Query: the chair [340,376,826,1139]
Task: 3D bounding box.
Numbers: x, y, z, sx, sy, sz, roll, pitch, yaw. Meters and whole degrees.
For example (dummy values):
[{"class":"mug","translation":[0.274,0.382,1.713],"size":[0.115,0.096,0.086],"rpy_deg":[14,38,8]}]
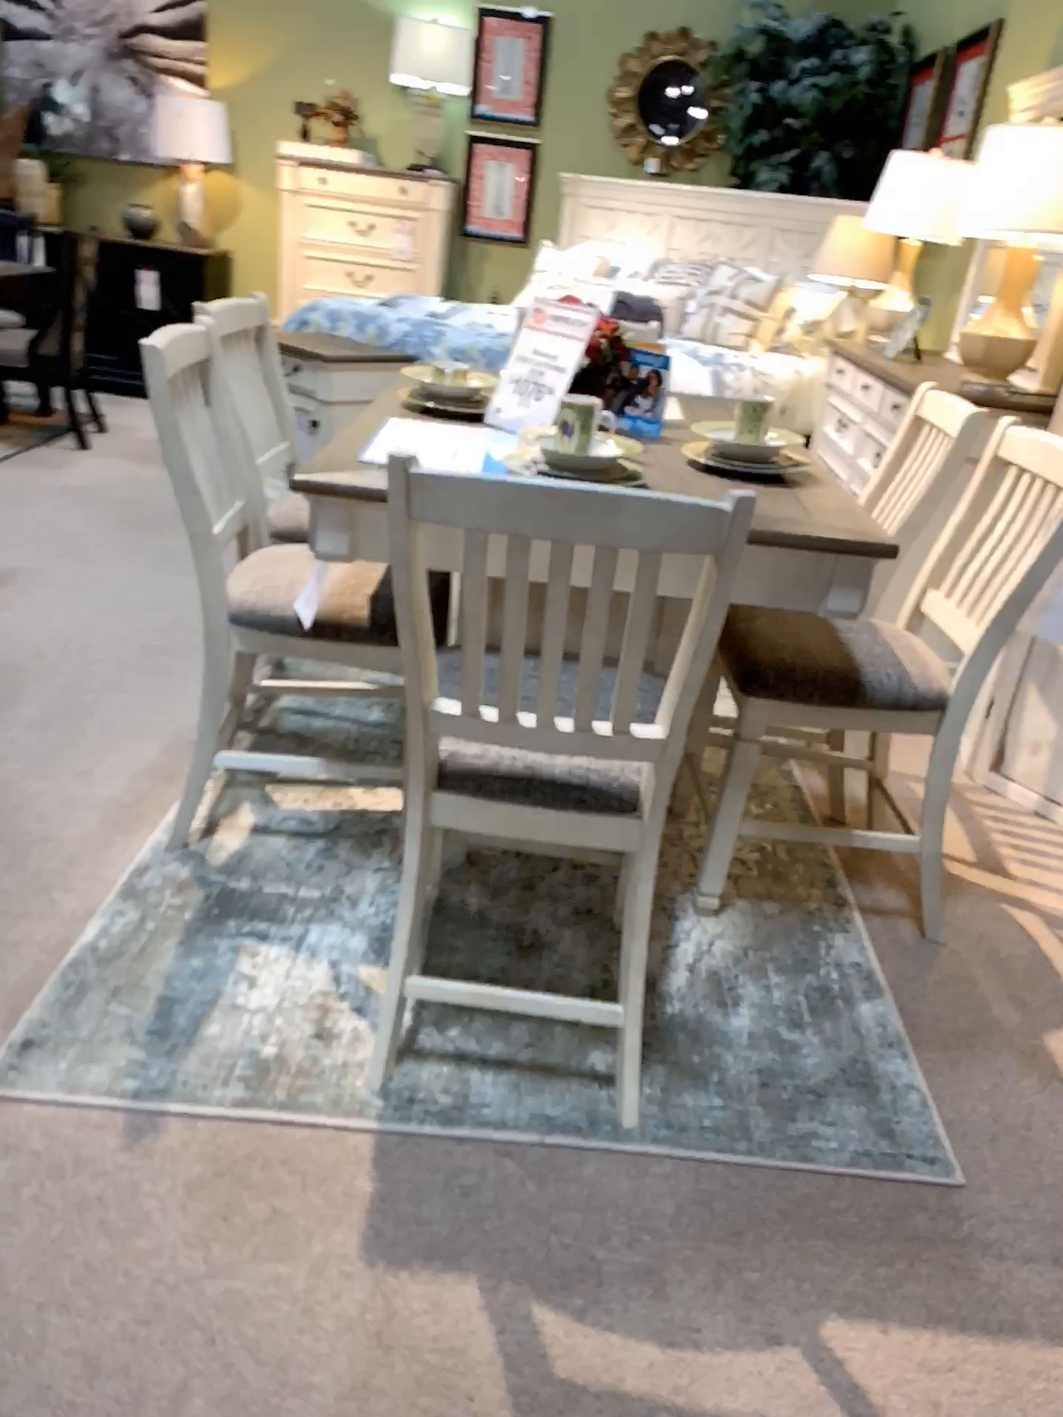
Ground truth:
[{"class":"chair","translation":[0.043,0.045,1.617],"size":[0.490,0.925,0.593],"rpy_deg":[8,25,1]}]
